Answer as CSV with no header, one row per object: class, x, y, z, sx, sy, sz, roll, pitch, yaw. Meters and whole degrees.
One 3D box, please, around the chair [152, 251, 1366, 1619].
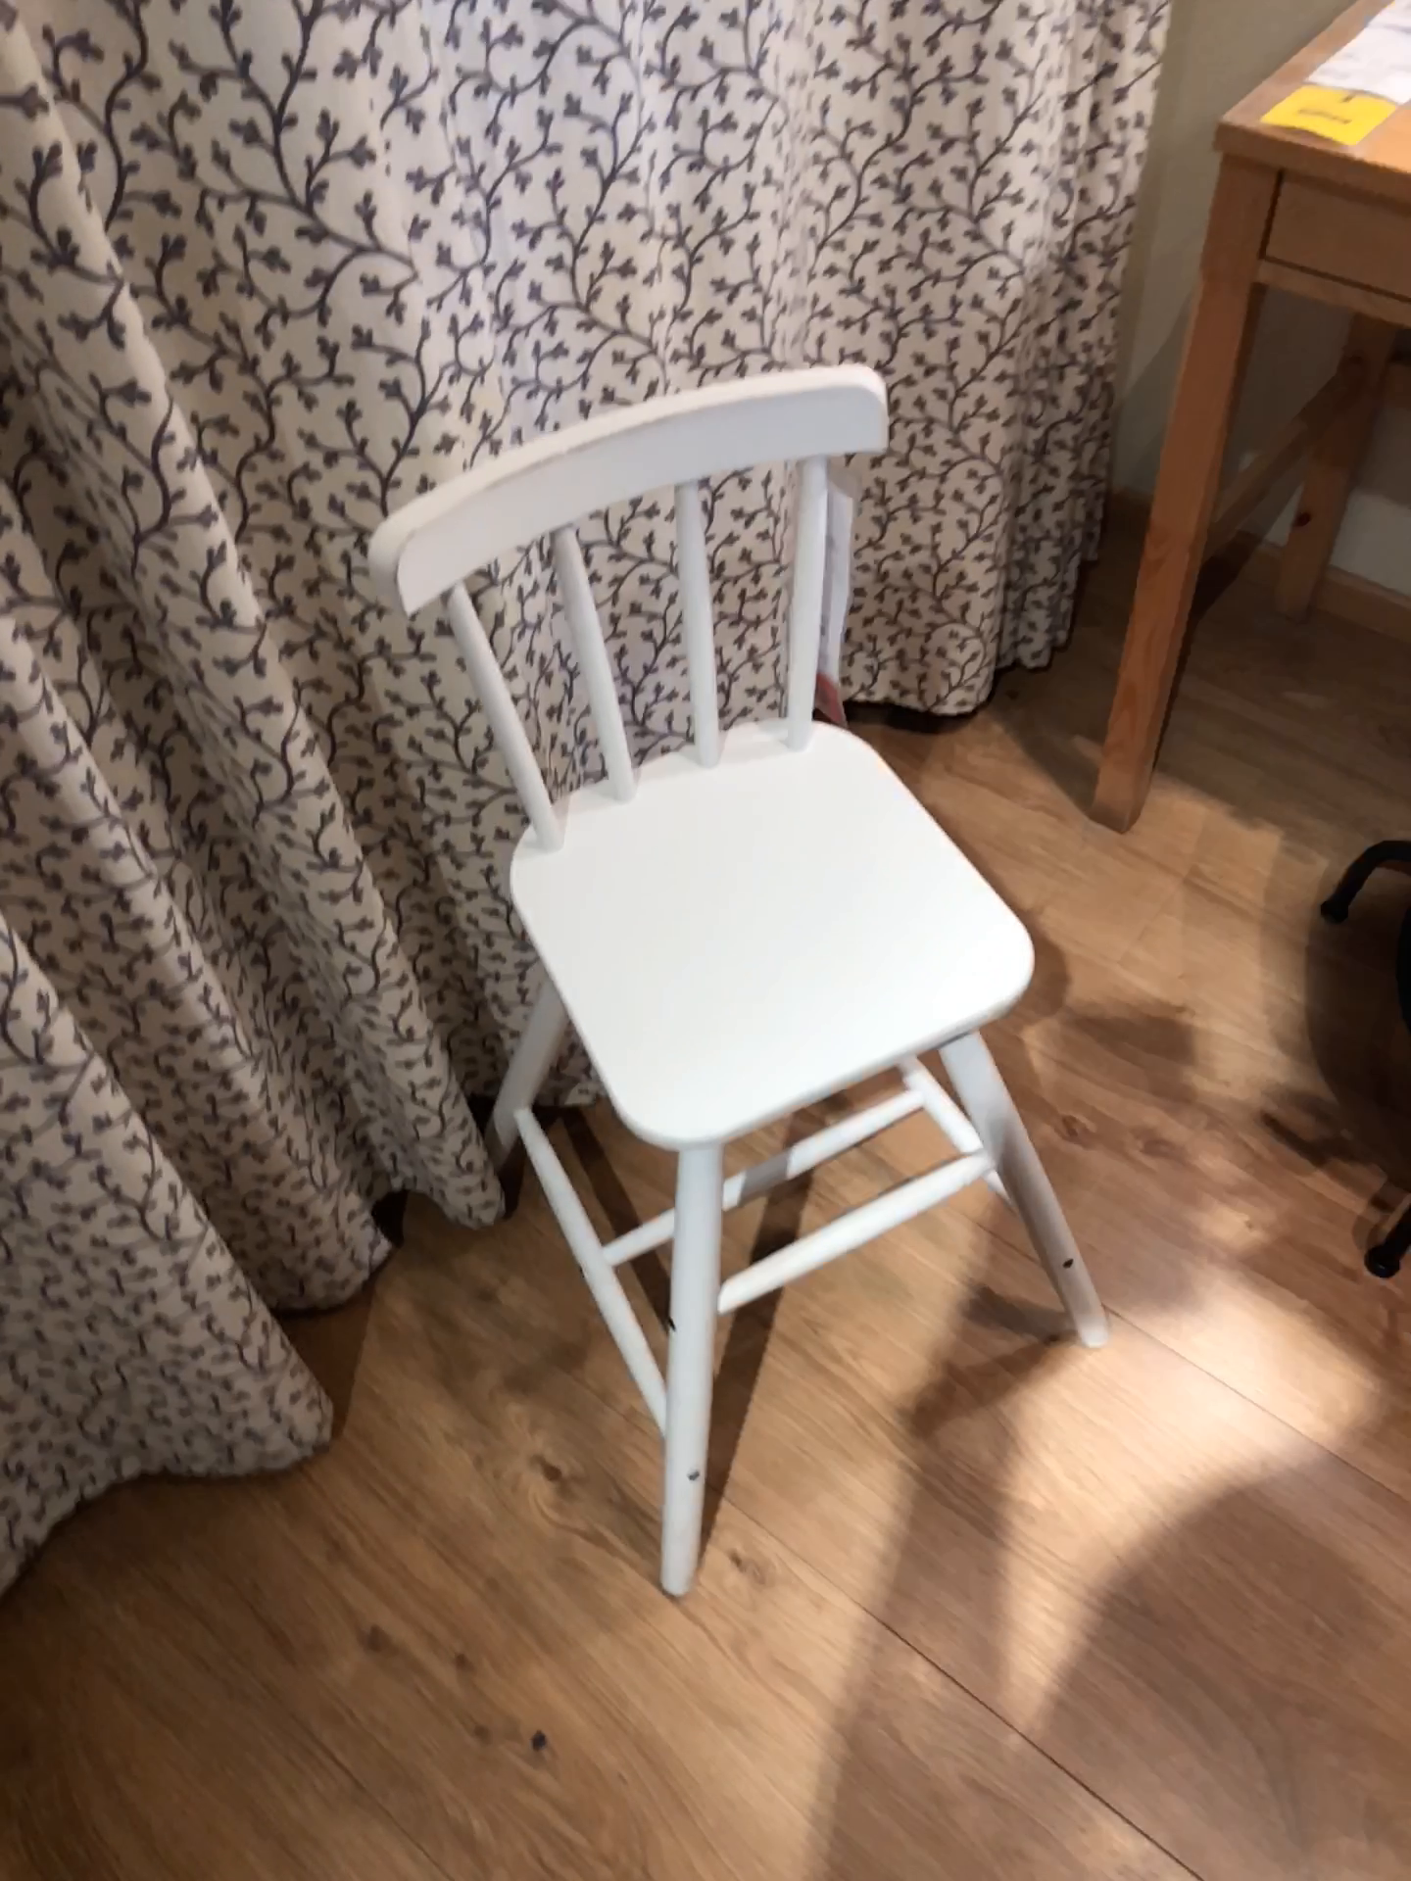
chair,0.021,0.040,1.032,0.420,0.706,0.452,-26,55,-15
